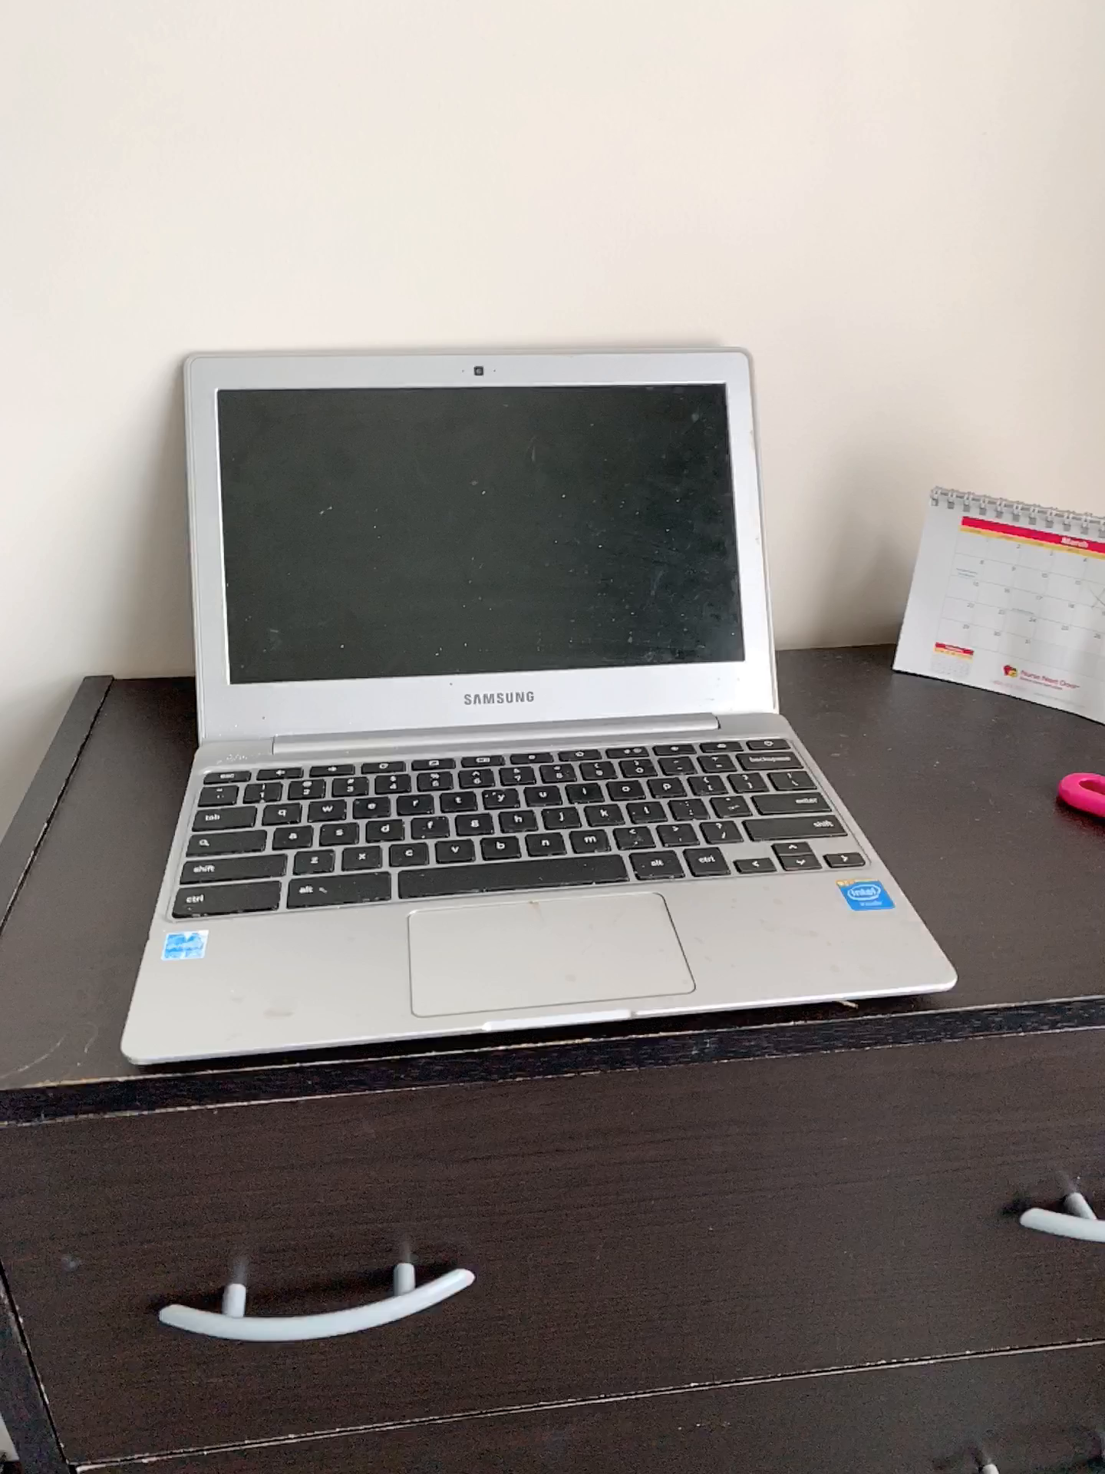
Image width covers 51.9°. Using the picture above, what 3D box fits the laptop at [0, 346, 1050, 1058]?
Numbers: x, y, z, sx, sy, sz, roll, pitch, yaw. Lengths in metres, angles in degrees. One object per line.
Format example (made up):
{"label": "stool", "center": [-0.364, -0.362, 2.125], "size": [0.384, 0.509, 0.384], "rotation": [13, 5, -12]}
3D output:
{"label": "laptop", "center": [-0.021, -0.053, 0.484], "size": [0.291, 0.153, 0.319], "rotation": [-3, 30, -8]}
